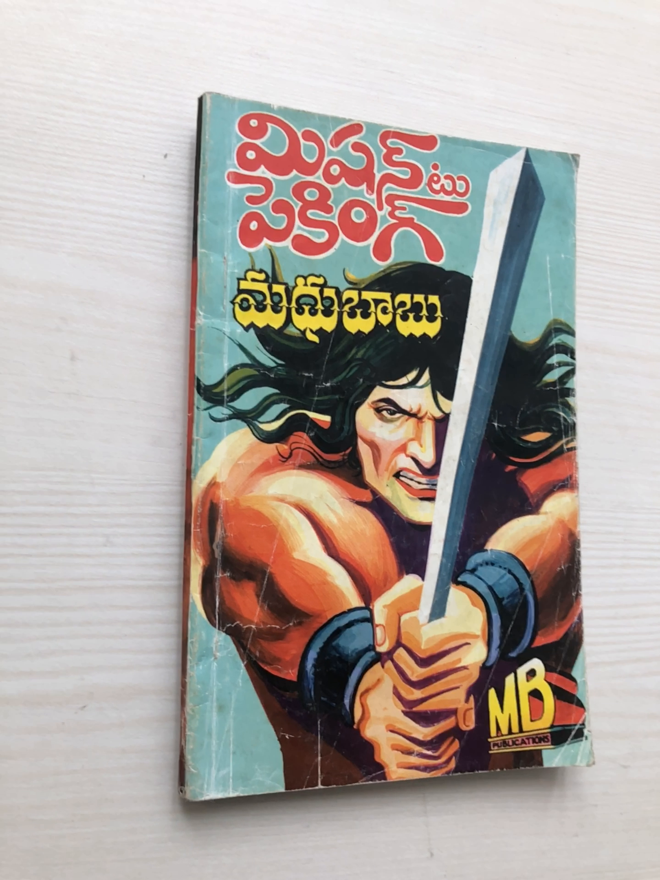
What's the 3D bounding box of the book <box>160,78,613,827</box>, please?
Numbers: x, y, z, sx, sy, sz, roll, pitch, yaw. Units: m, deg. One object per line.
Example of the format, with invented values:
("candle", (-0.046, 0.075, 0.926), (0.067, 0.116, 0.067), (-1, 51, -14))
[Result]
("book", (0.014, 0.002, 0.176), (0.100, 0.030, 0.150), (2, 86, -16))
